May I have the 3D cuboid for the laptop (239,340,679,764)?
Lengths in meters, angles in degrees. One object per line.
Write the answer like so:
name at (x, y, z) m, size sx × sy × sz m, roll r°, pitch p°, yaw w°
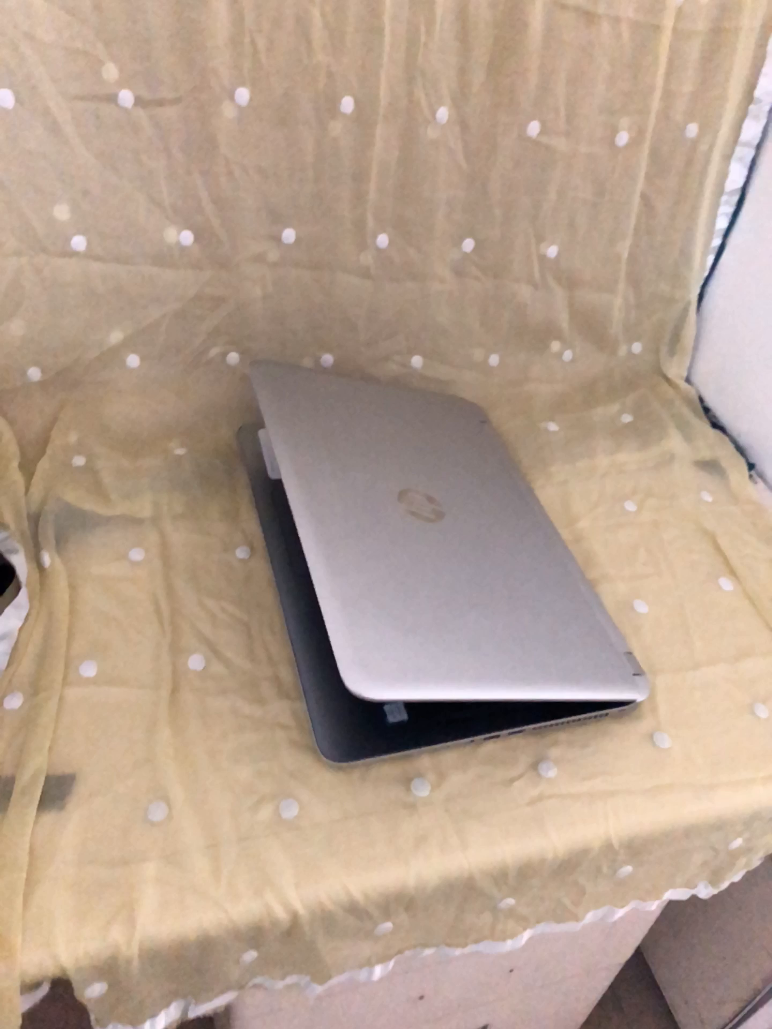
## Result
laptop at (0.030, -0.003, 0.694) m, size 0.243 × 0.077 × 0.367 m, roll -6°, pitch 45°, yaw -17°
